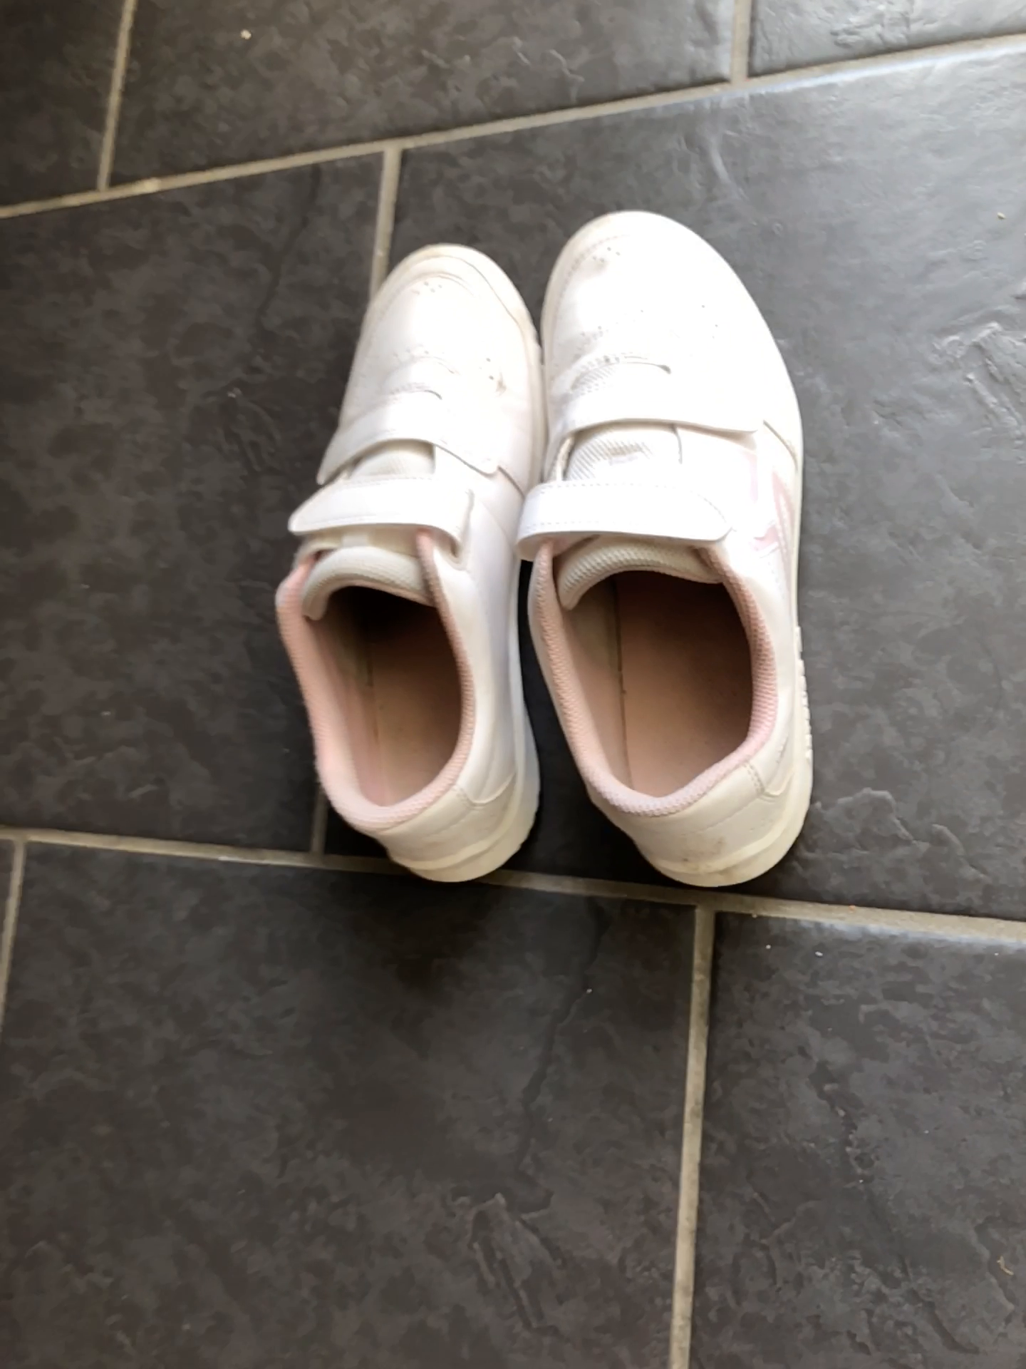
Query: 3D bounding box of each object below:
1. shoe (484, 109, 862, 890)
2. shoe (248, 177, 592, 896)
[{"bbox_3d":[0.057,-0.056,0.410,0.095,0.090,0.250,-8,77,21],"label":"shoe"},{"bbox_3d":[-0.032,-0.046,0.438,0.095,0.090,0.250,-5,78,21],"label":"shoe"}]
